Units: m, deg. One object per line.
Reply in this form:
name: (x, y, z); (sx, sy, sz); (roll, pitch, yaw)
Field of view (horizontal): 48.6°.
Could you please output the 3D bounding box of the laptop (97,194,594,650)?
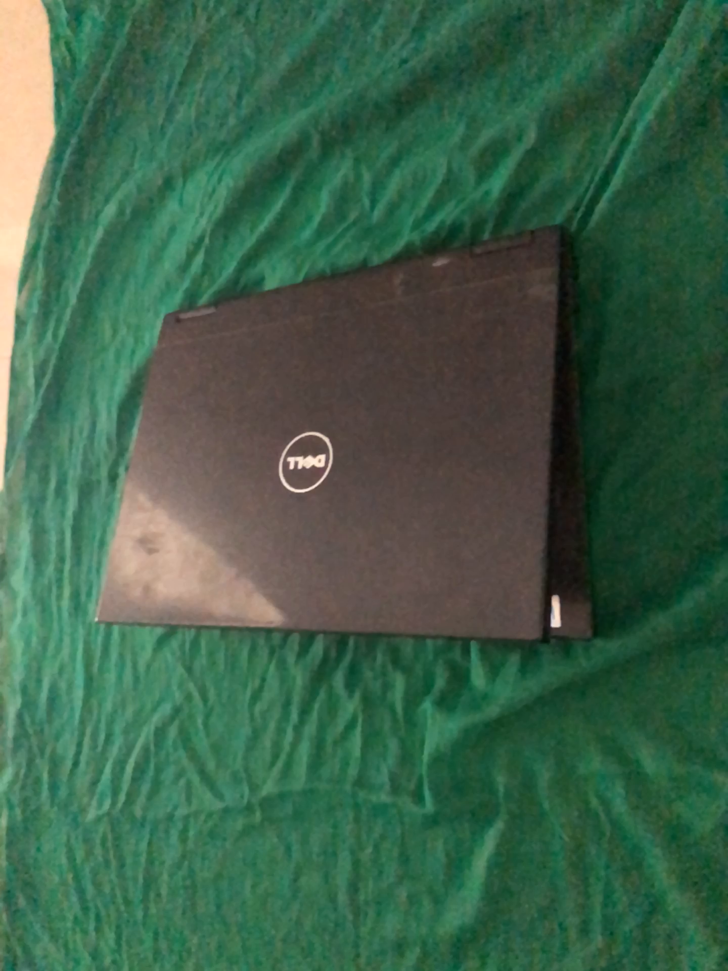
laptop: (-0.026, -0.020, 0.507); (0.307, 0.066, 0.226); (-4, 93, 31)
